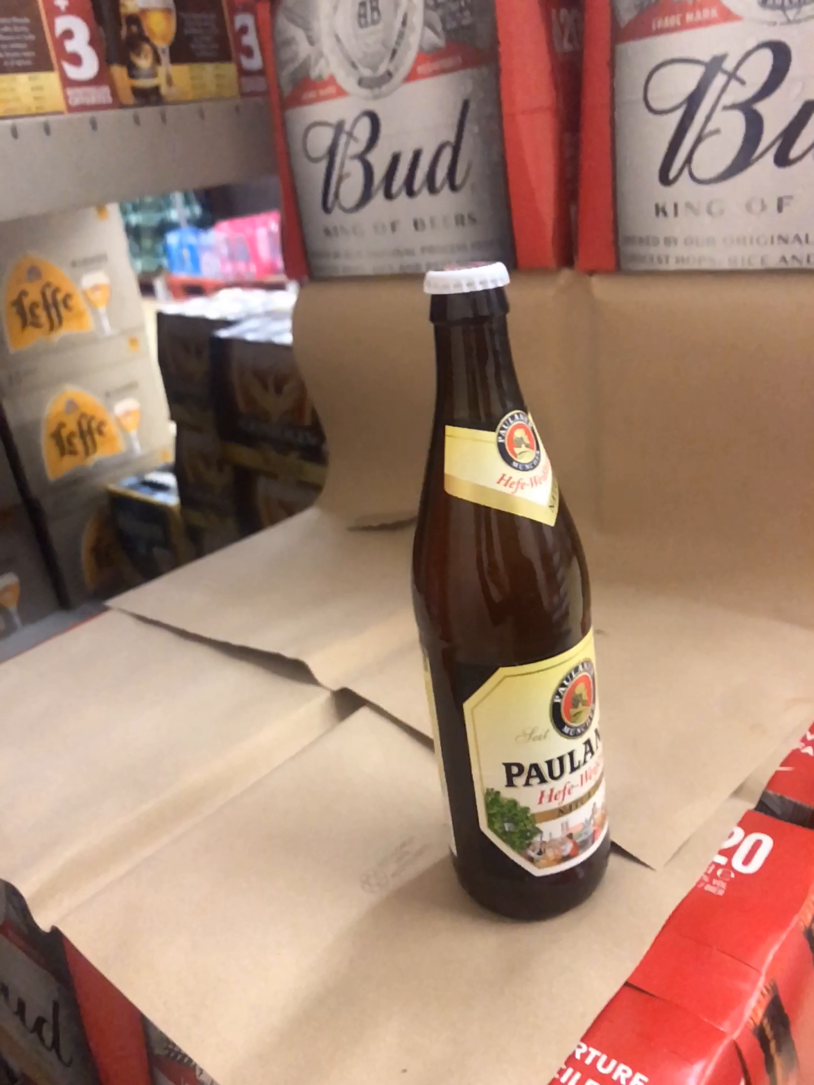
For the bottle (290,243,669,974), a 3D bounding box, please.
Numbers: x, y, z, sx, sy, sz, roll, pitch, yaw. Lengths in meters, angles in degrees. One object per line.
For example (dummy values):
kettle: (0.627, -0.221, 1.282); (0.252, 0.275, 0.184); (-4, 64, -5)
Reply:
bottle: (0.033, 0.023, 0.328); (0.080, 0.239, 0.080); (-7, 24, 3)
